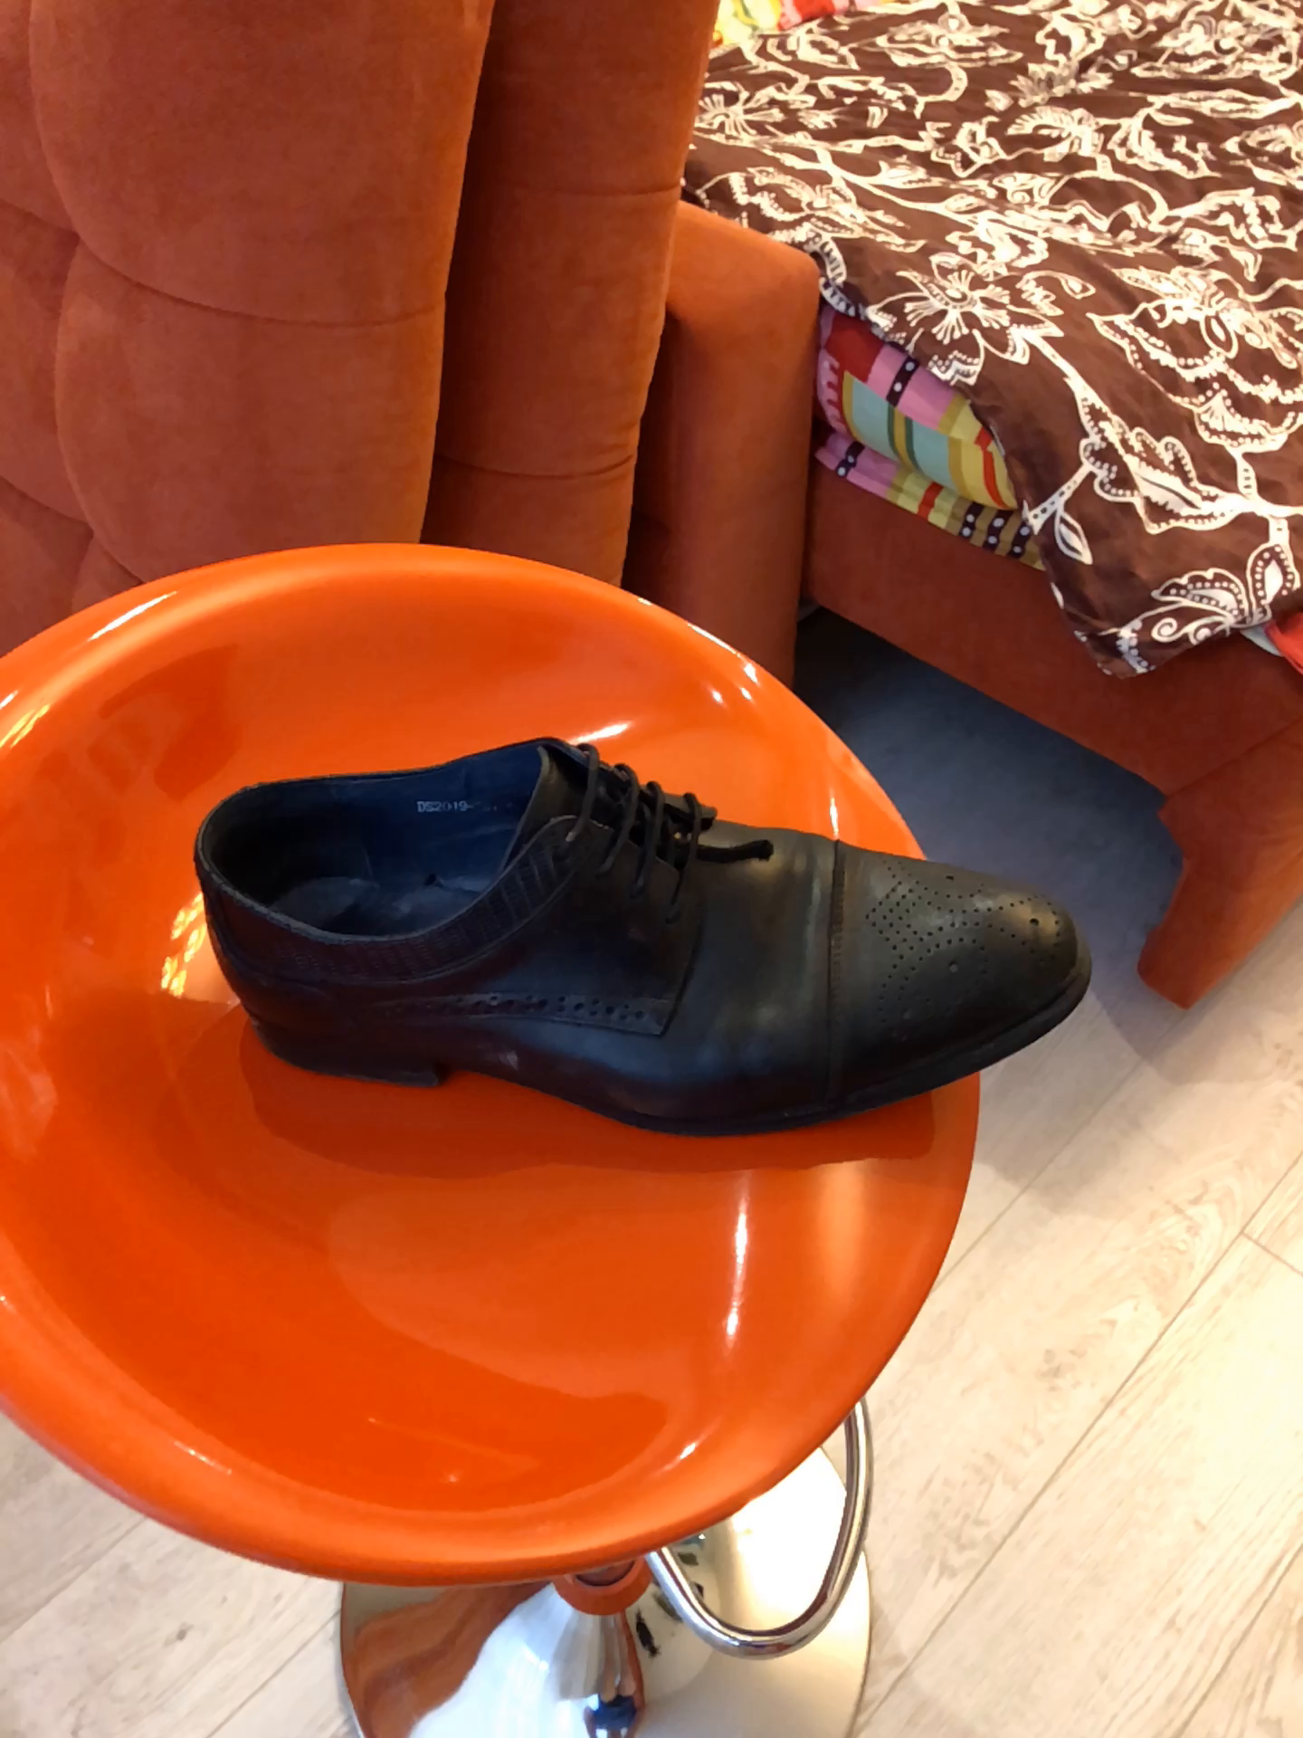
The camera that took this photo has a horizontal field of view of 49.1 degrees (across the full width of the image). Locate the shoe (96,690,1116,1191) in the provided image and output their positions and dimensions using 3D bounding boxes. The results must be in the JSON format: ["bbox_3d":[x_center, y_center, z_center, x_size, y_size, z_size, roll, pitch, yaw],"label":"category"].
[{"bbox_3d":[-0.010,0.019,0.484,0.300,0.079,0.121,5,48,7],"label":"shoe"}]
